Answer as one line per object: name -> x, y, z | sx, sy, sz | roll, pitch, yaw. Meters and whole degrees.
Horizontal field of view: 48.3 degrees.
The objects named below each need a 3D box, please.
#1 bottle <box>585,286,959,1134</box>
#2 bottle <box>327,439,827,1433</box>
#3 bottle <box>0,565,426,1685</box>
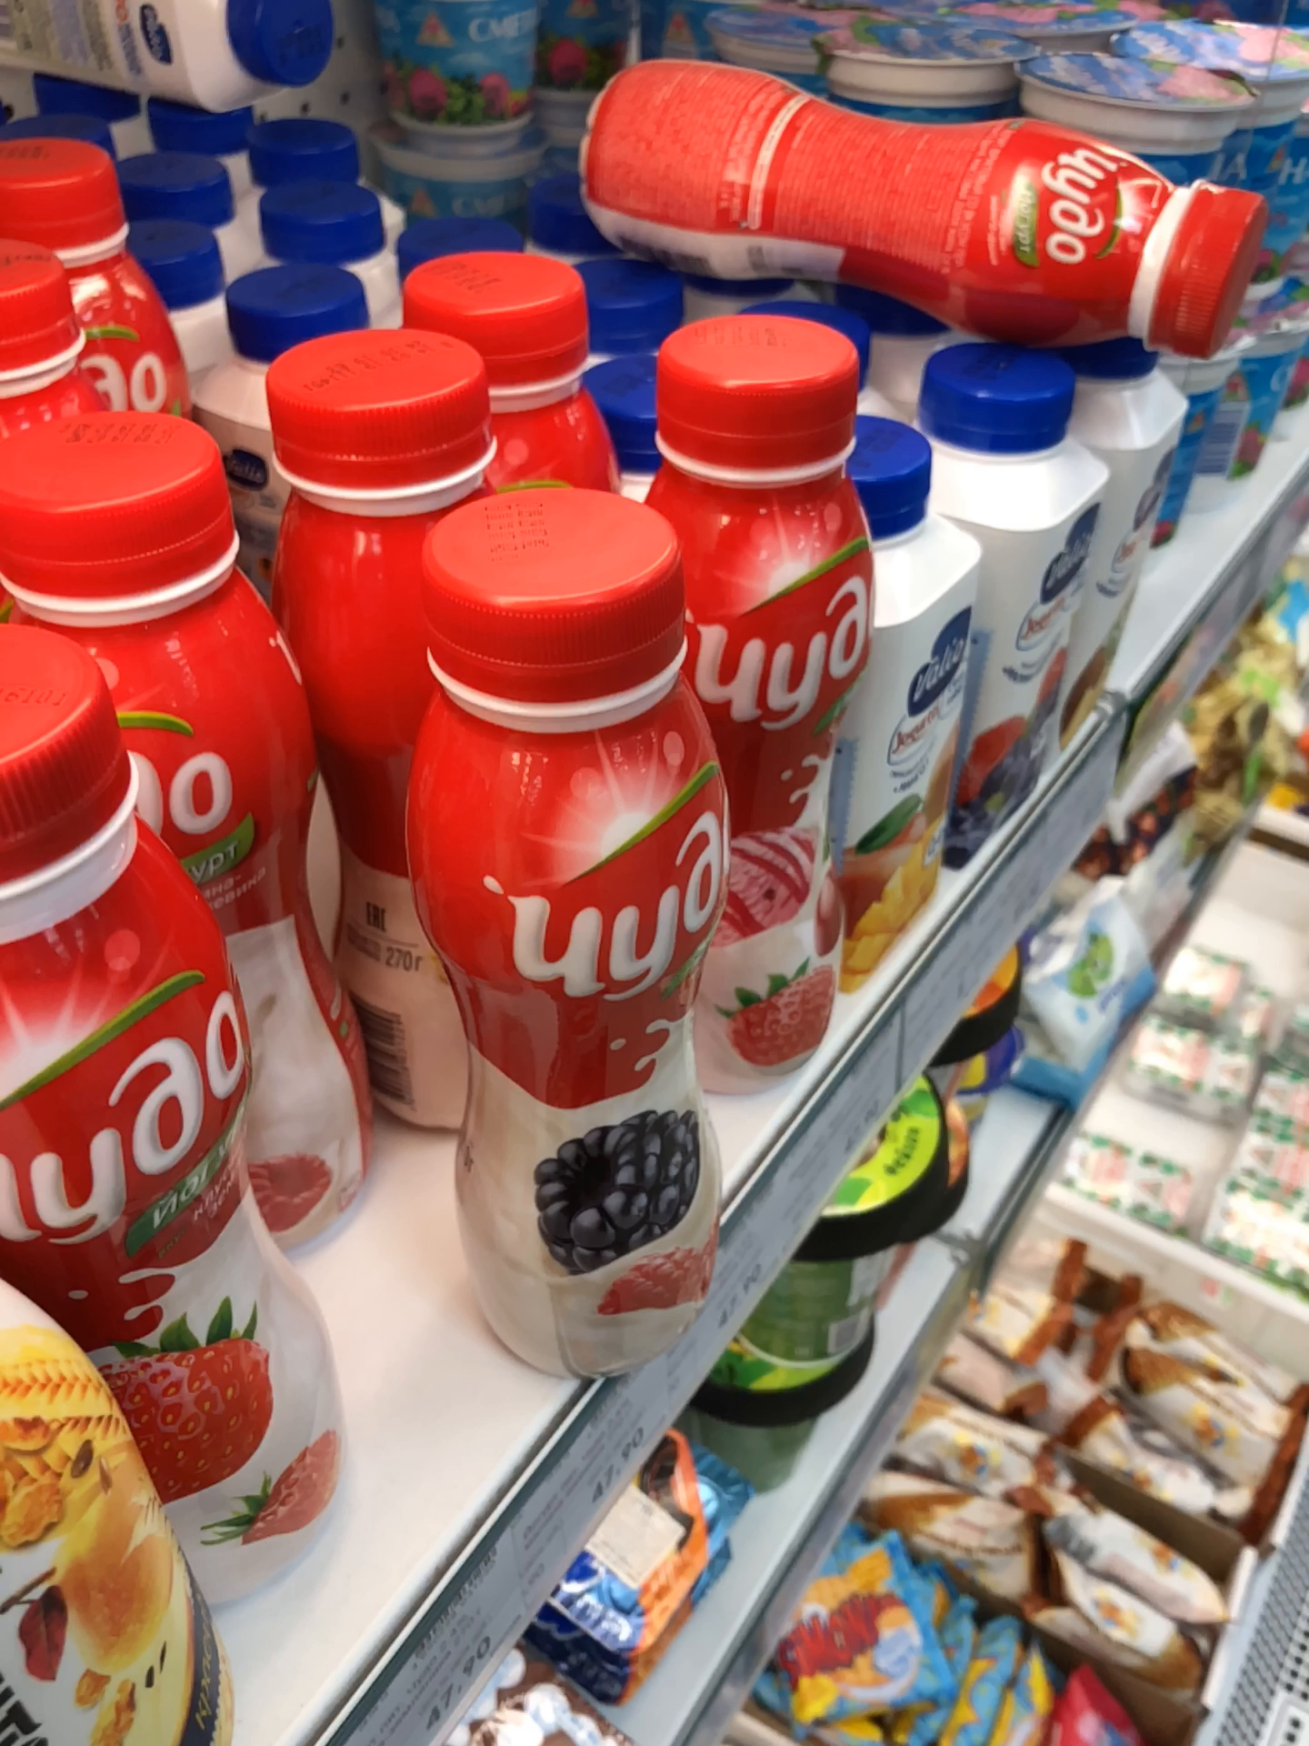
bottle -> 0.021, -0.028, 0.333 | 0.050, 0.181, 0.054 | 1, 40, -1
bottle -> -0.013, 0.022, 0.271 | 0.050, 0.181, 0.054 | 1, 40, -1
bottle -> -0.080, 0.051, 0.230 | 0.050, 0.181, 0.054 | 1, 40, -1
